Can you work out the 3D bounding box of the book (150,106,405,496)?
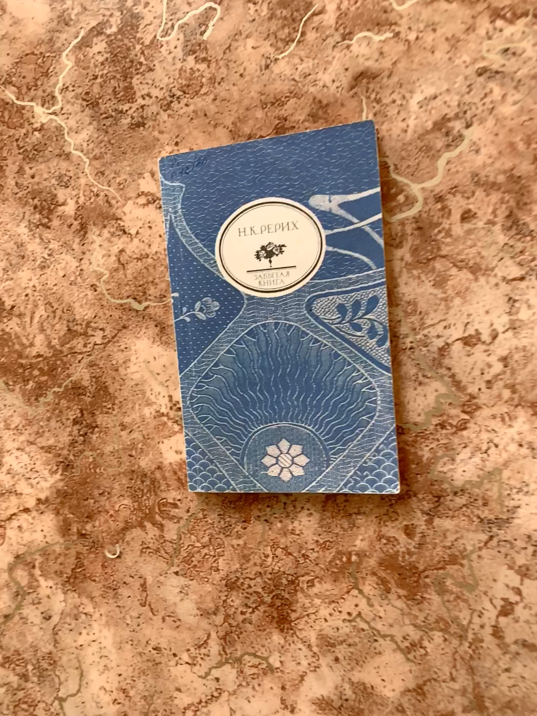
[{"bbox_3d":[0.004,-0.025,0.311,0.125,0.015,0.202,-5,93,14],"label":"book"}]
